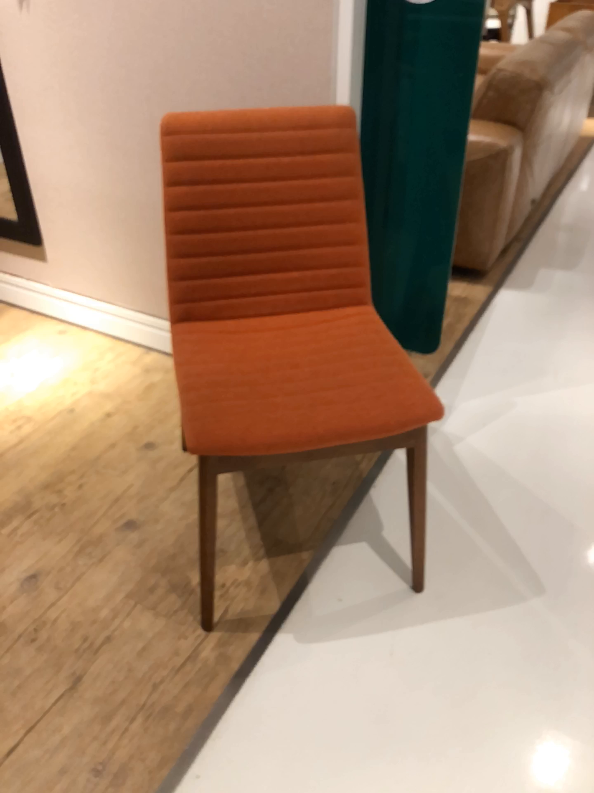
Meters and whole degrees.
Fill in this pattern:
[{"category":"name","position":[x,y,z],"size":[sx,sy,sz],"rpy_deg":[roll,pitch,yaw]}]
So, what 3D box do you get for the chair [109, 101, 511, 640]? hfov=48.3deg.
[{"category":"chair","position":[-0.035,-0.080,1.336],"size":[0.530,0.813,0.635],"rpy_deg":[-7,35,-10]}]
